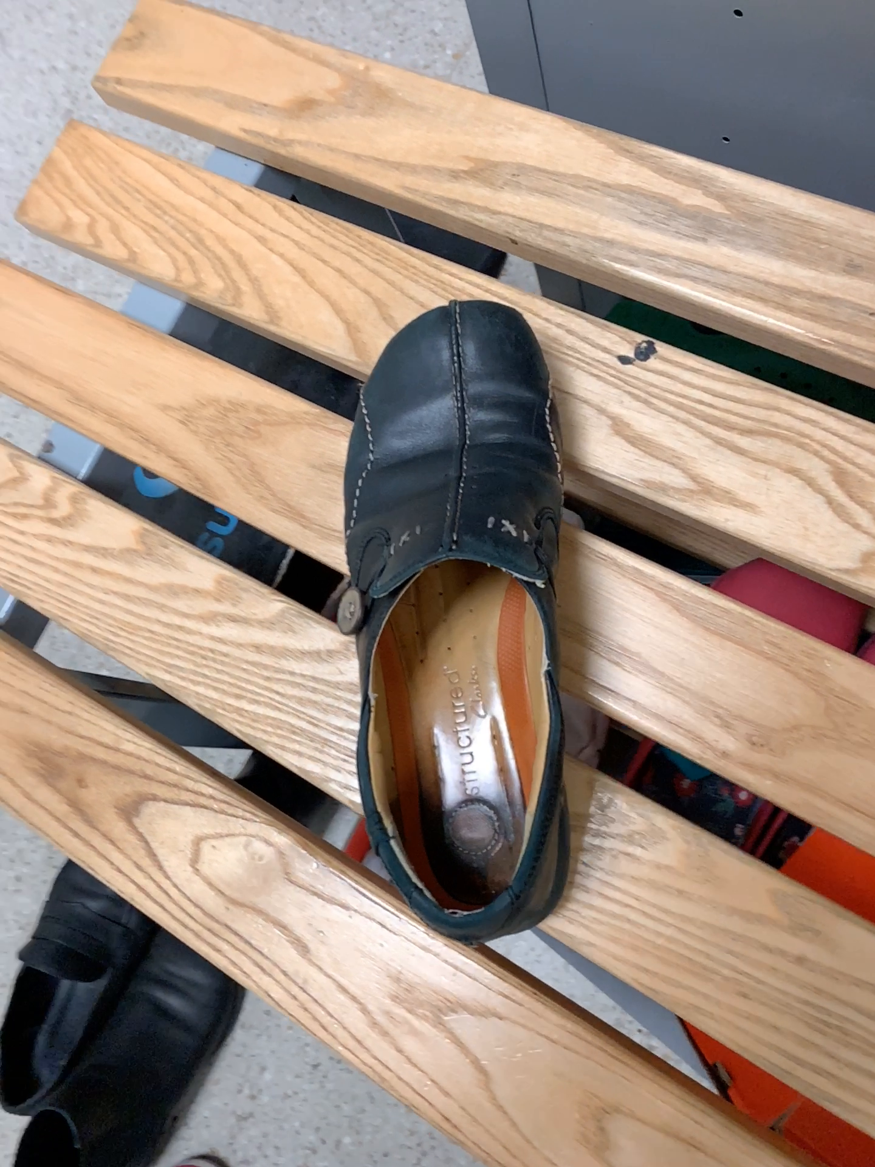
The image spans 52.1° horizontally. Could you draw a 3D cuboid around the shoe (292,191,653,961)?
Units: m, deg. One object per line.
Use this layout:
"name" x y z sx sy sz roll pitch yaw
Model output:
"shoe" 0.012 -0.004 0.353 0.104 0.075 0.268 -8 76 13
